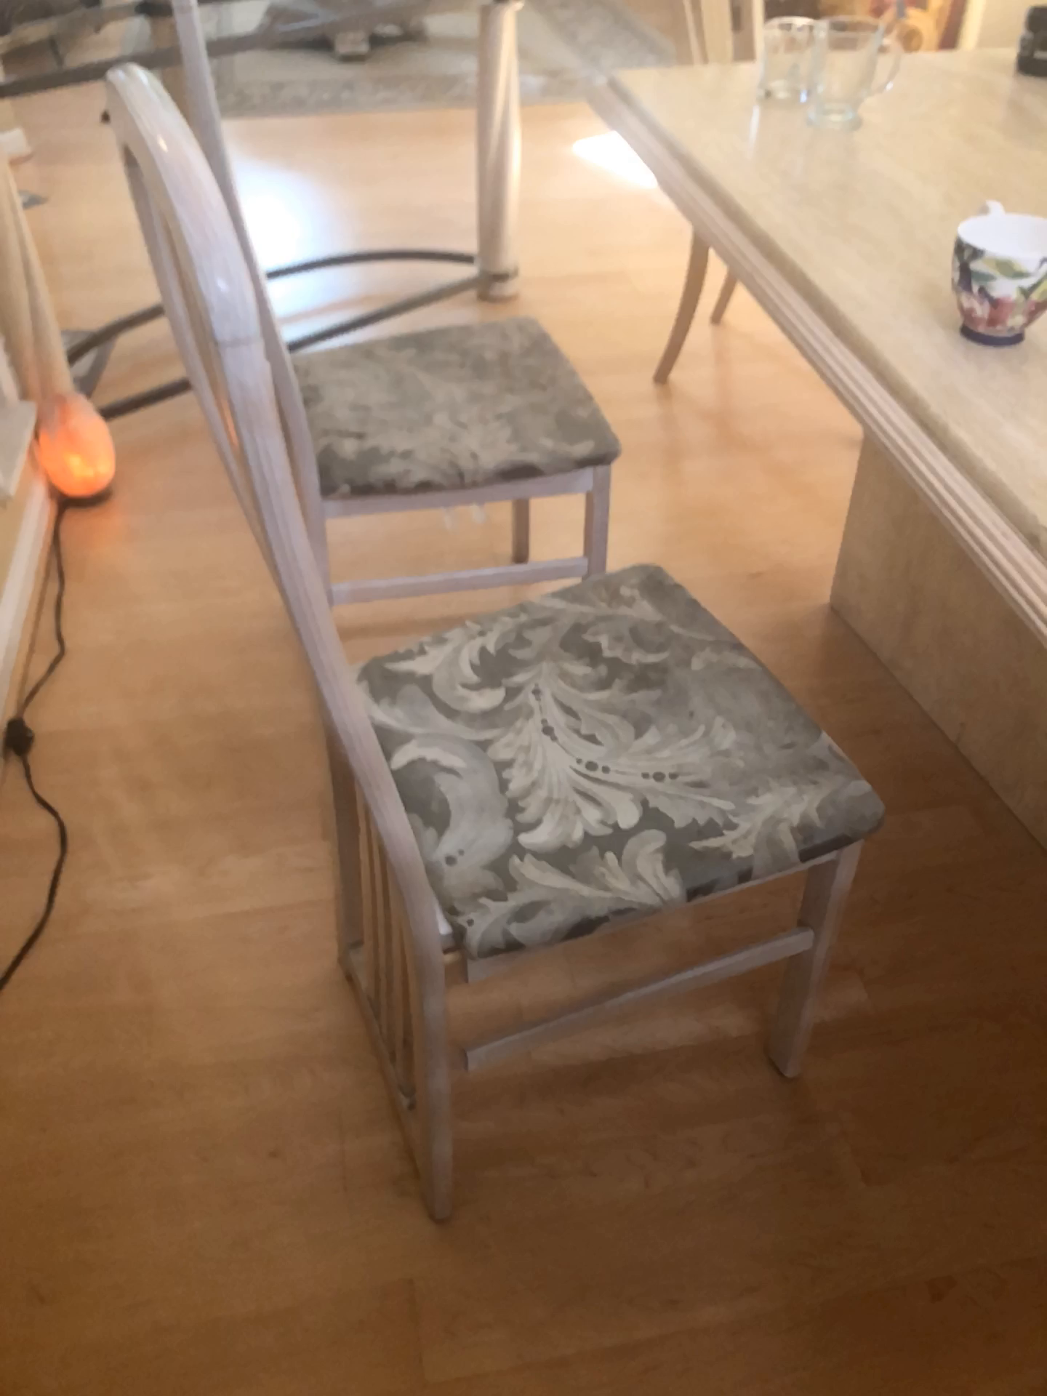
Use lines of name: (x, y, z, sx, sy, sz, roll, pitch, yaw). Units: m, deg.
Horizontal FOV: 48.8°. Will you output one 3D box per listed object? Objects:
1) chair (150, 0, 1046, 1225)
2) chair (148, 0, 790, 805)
chair: (0.037, -0.047, 1.179, 0.561, 1.140, 0.483, -12, 42, -15)
chair: (-0.079, -0.477, 1.537, 0.561, 1.140, 0.484, -10, 42, -10)
